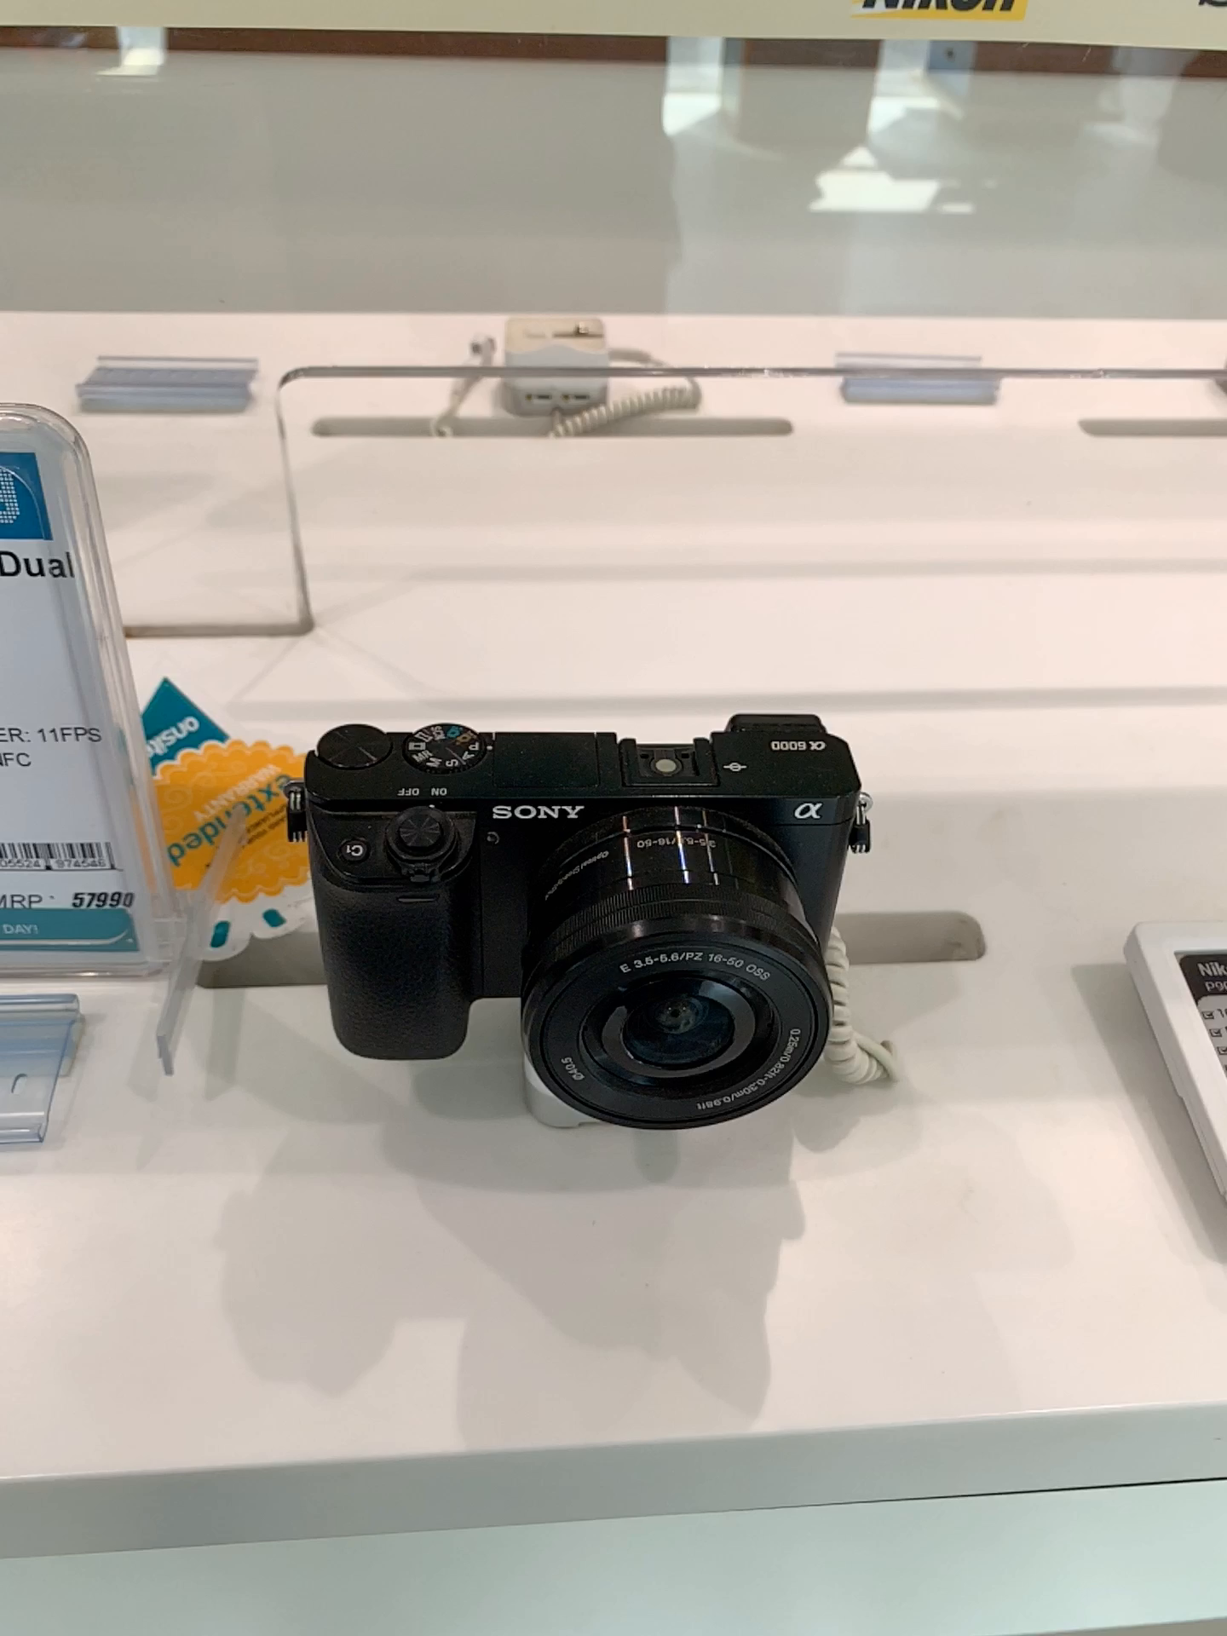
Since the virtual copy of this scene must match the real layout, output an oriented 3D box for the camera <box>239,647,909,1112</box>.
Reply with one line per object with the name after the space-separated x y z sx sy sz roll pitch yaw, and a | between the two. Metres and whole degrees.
-0.008 0.011 0.240 0.104 0.063 0.059 -1 43 -4 | camera
